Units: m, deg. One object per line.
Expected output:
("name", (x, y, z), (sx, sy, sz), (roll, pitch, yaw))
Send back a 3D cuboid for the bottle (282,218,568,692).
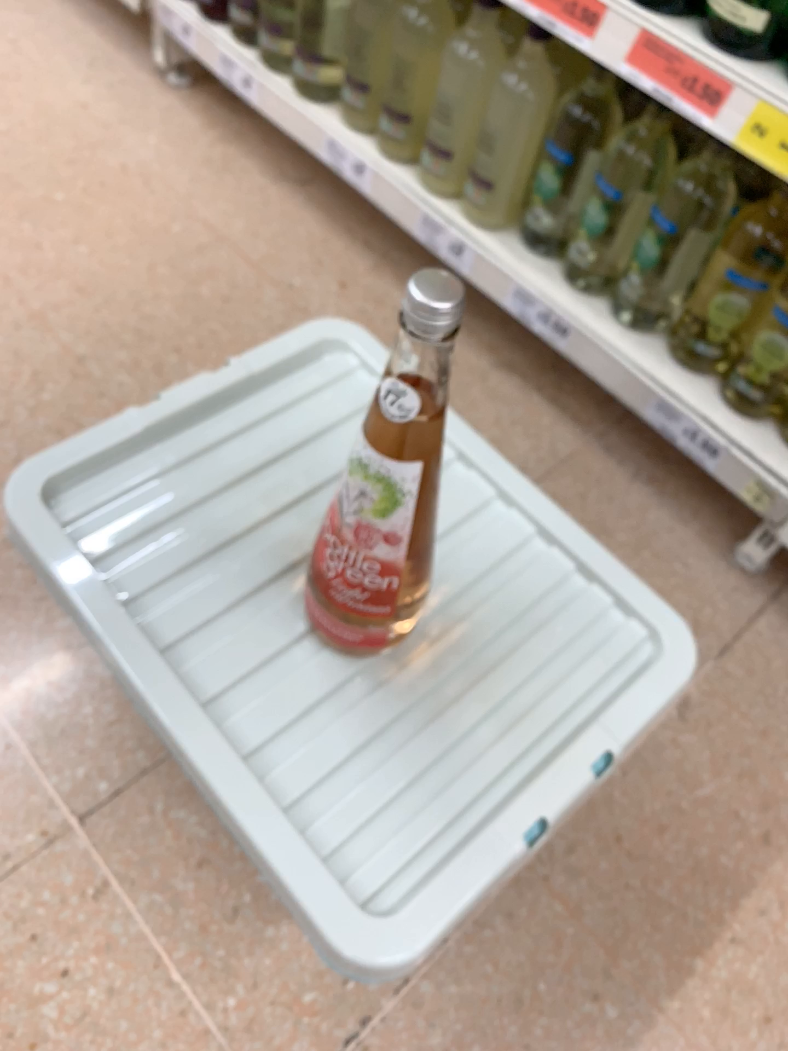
("bottle", (-0.001, -0.016, 0.488), (0.081, 0.299, 0.090), (42, 60, 18))
